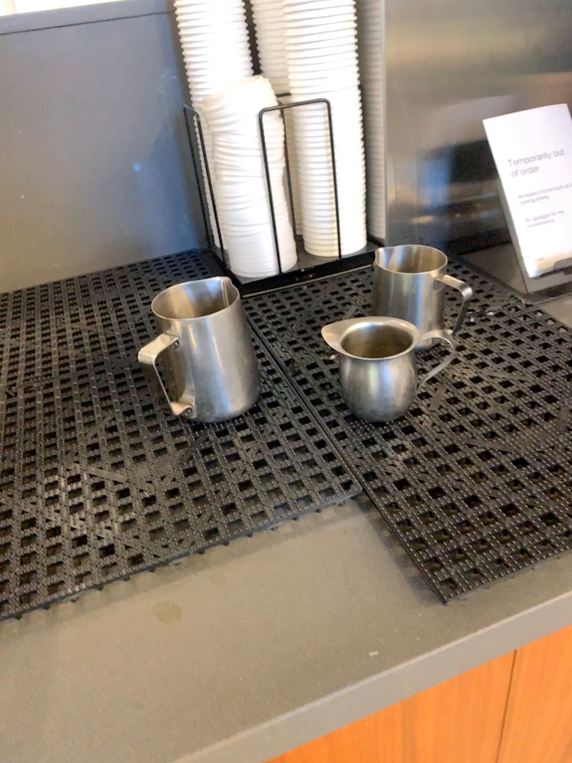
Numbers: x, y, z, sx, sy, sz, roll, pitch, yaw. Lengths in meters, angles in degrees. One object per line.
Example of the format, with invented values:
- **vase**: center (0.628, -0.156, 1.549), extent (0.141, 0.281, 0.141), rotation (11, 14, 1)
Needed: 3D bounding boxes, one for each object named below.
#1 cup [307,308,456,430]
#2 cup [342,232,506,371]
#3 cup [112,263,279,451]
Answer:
- **cup**: center (0.082, -0.013, 0.495), extent (0.110, 0.070, 0.070), rotation (3, 35, 16)
- **cup**: center (0.131, -0.083, 0.580), extent (0.080, 0.079, 0.131), rotation (-28, 38, -29)
- **cup**: center (-0.071, -0.026, 0.518), extent (0.070, 0.109, 0.120), rotation (11, 37, 26)
